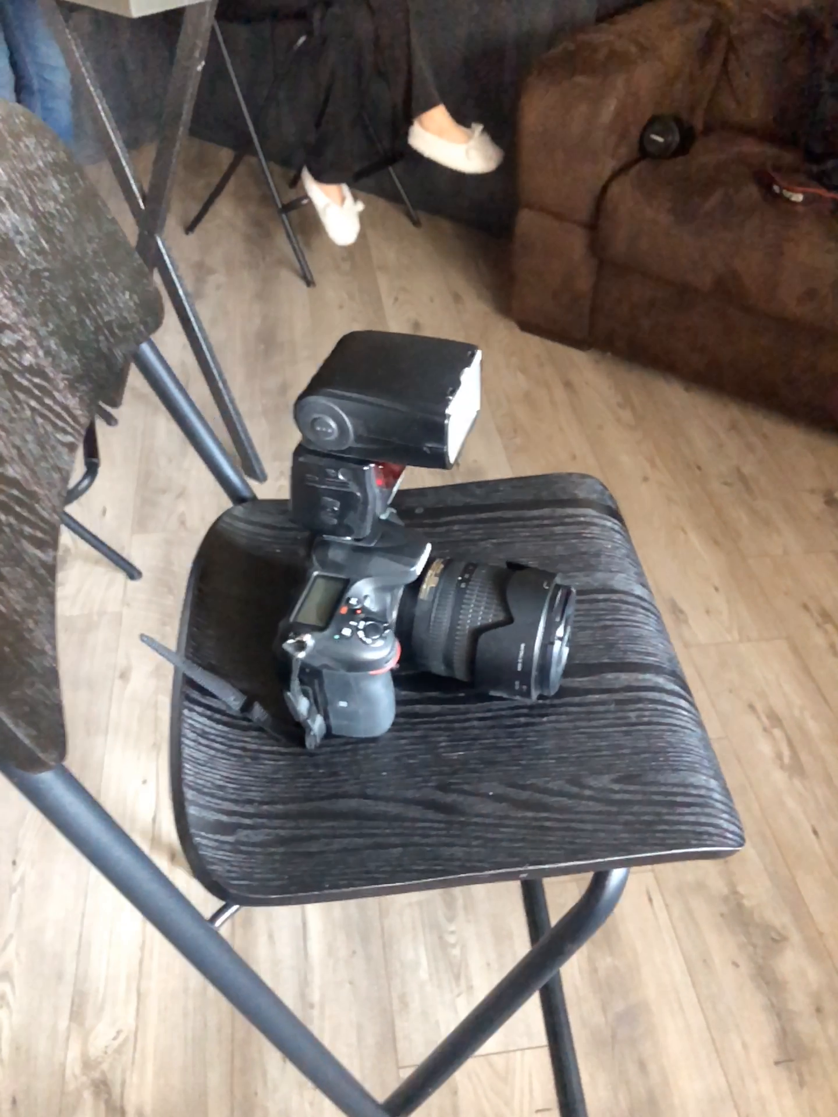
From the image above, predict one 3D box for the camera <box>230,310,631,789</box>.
[{"bbox_3d":[0.010,0.000,0.525,0.167,0.217,0.126,12,47,10],"label":"camera"}]
